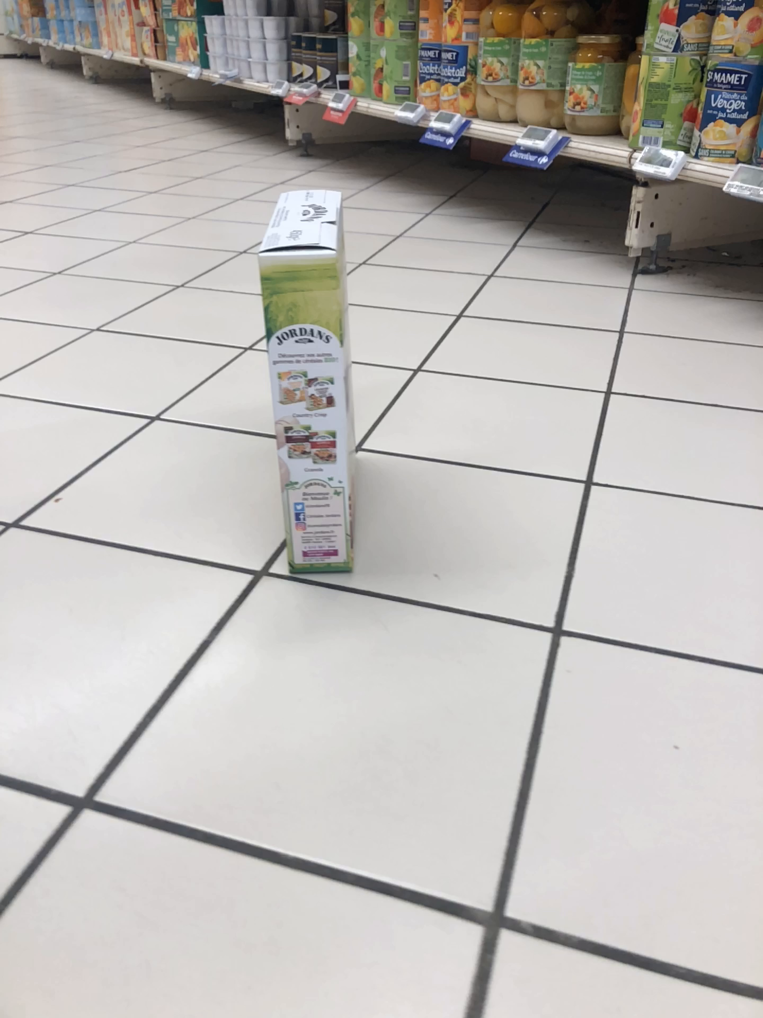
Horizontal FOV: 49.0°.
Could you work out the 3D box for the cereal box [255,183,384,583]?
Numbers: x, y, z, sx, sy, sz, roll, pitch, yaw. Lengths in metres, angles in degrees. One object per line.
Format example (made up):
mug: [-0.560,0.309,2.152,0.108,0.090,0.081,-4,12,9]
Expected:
cereal box: [-0.035,-0.095,0.586,0.060,0.219,0.191,-3,30,0]
